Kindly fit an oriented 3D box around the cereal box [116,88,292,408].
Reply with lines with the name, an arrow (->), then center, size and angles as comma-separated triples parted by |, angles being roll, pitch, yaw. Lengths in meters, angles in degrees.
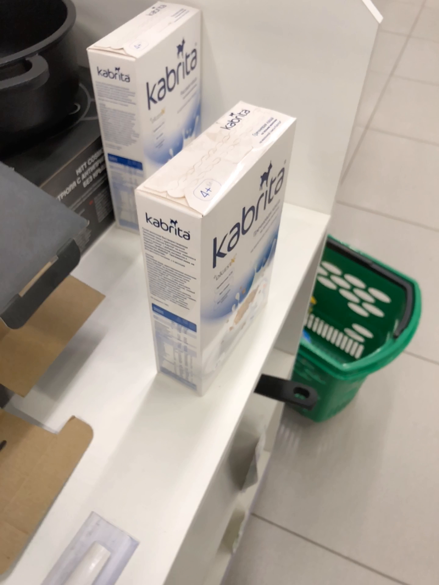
cereal box -> -0.007, -0.026, 0.399 | 0.050, 0.219, 0.141 | 24, 51, 18
